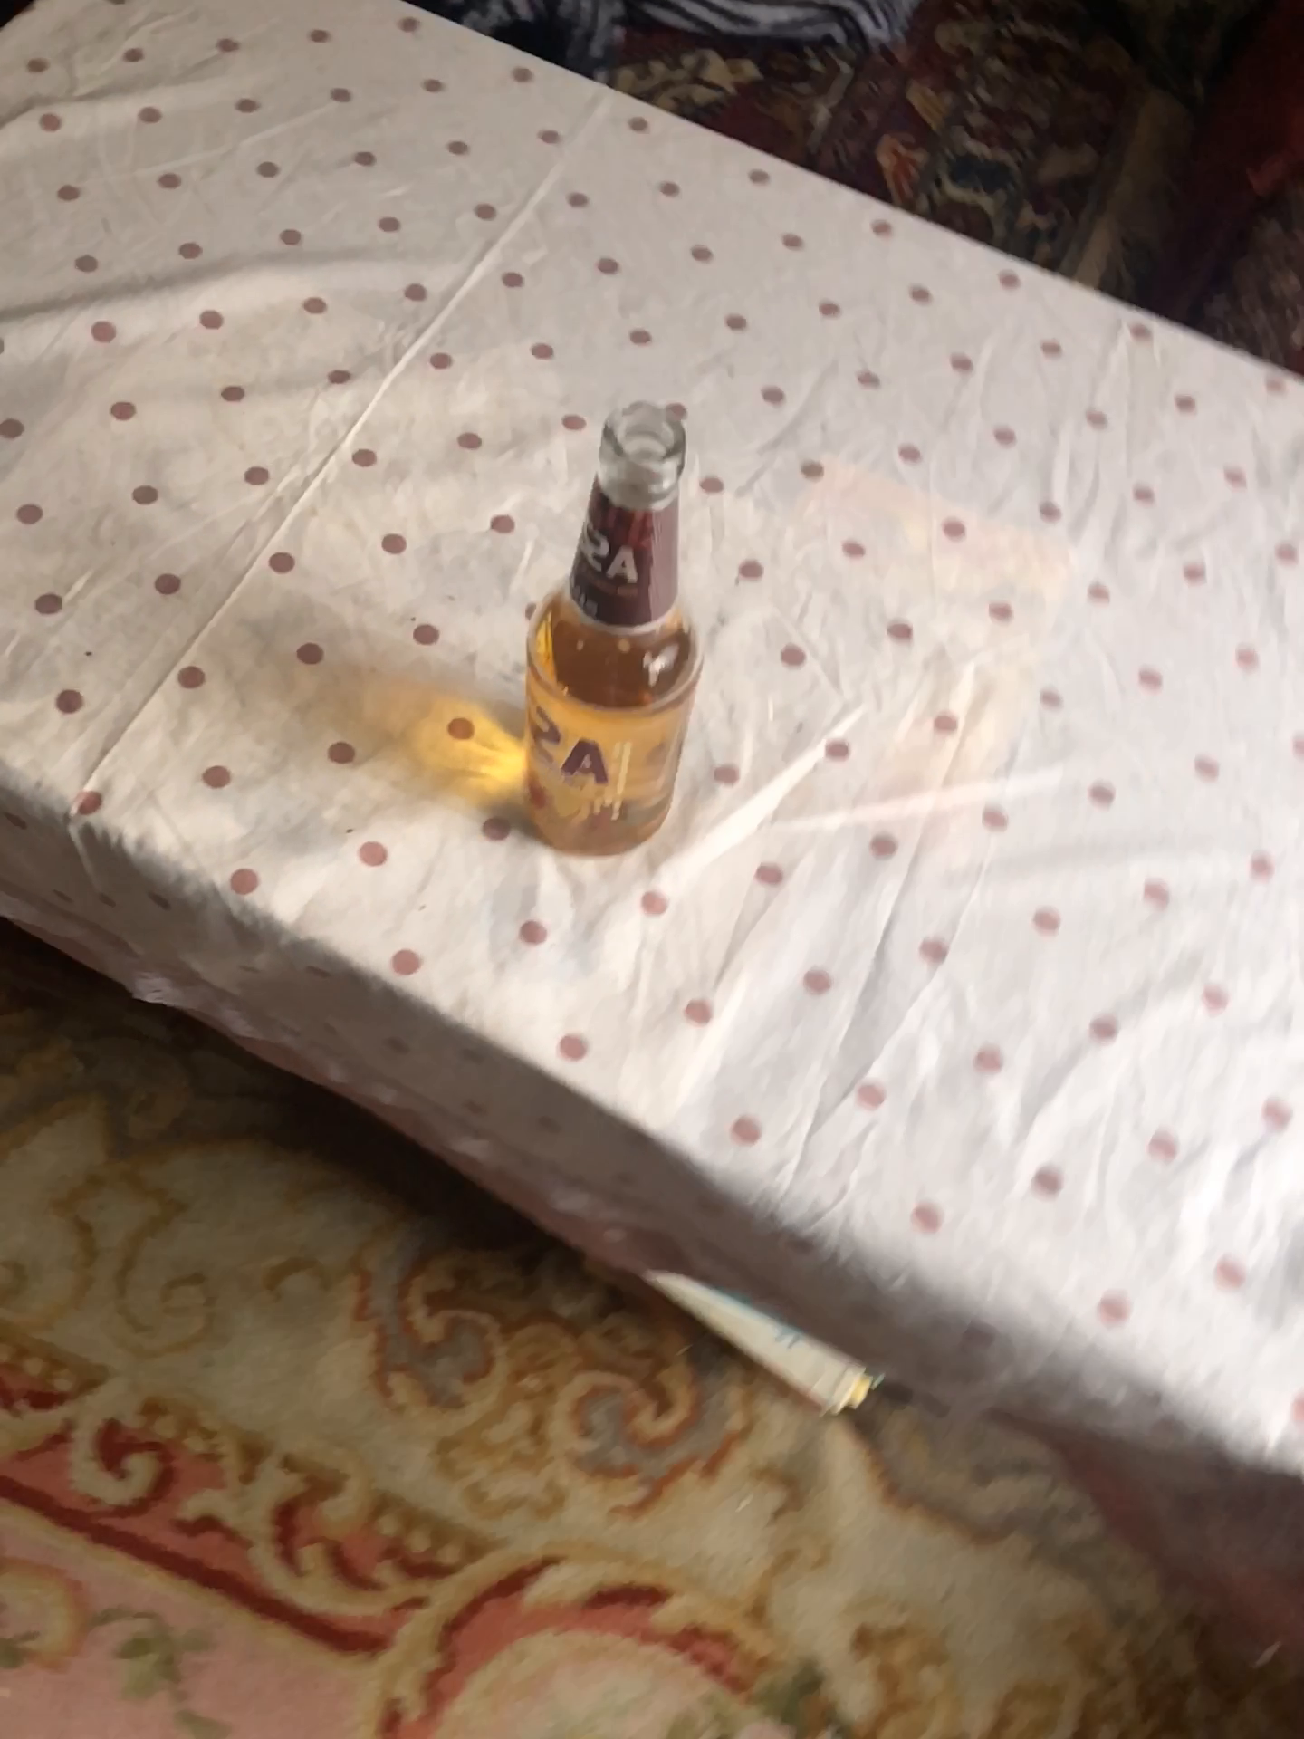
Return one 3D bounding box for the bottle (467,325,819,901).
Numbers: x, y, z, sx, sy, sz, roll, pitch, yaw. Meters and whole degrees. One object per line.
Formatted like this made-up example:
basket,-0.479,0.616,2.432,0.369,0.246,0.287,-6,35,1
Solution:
bottle,-0.014,-0.082,0.531,0.080,0.209,0.080,3,63,-5
